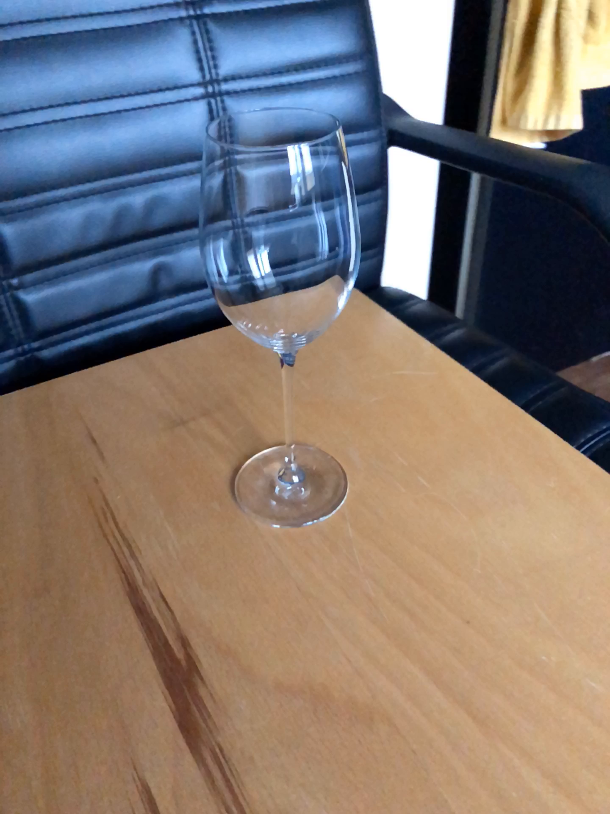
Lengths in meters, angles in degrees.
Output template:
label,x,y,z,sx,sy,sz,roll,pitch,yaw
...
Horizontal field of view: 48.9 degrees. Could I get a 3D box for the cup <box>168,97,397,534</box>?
label,x,y,z,sx,sy,sz,roll,pitch,yaw
cup,-0.006,-0.039,0.364,0.089,0.218,0.090,-1,39,1
